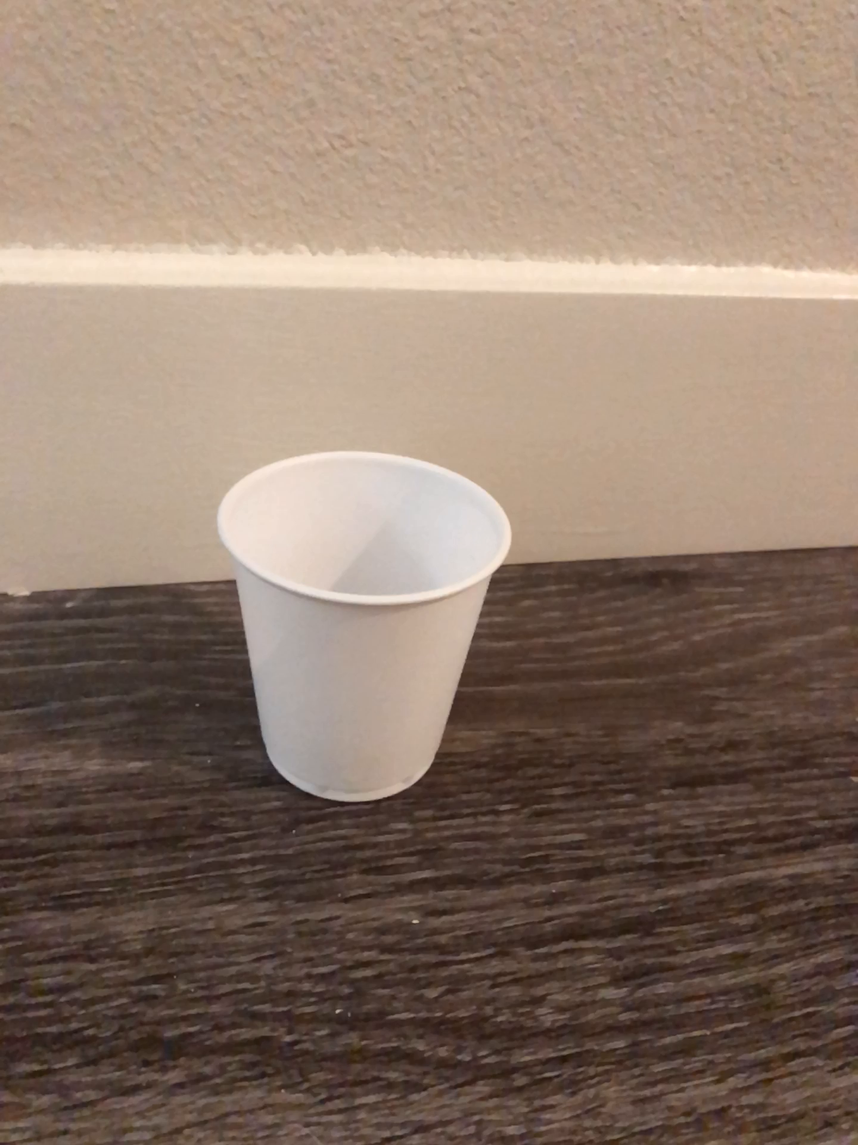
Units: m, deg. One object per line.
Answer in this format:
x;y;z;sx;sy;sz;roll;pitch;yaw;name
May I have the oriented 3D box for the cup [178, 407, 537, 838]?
-0.013;0.008;0.207;0.060;0.060;0.060;4;32;-3;cup
